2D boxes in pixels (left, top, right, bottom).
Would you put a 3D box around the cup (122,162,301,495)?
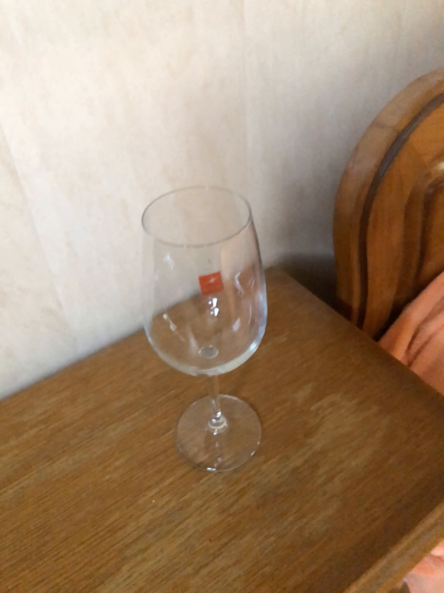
[{"bbox_3d":[-0.006,0.034,0.372,0.090,0.228,0.101,-10,40,-8],"label":"cup"}]
